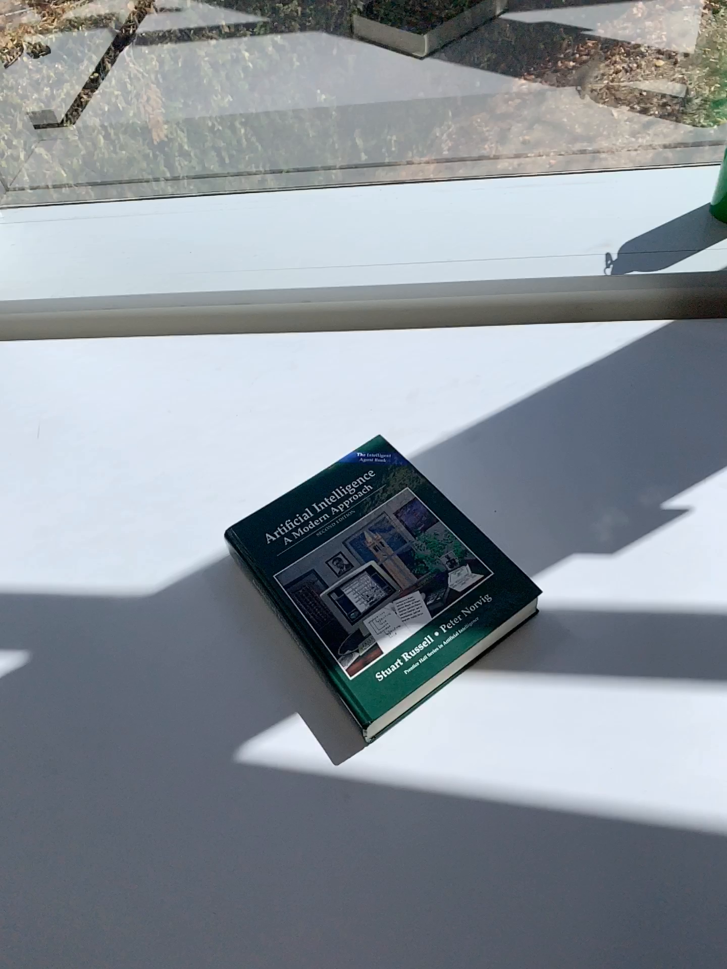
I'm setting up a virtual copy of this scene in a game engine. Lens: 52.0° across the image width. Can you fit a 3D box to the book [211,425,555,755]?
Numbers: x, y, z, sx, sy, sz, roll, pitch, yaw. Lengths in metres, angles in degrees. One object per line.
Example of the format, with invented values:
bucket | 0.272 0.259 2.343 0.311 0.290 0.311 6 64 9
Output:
book | 0.013 0.088 0.752 0.230 0.050 0.261 -33 55 -15
